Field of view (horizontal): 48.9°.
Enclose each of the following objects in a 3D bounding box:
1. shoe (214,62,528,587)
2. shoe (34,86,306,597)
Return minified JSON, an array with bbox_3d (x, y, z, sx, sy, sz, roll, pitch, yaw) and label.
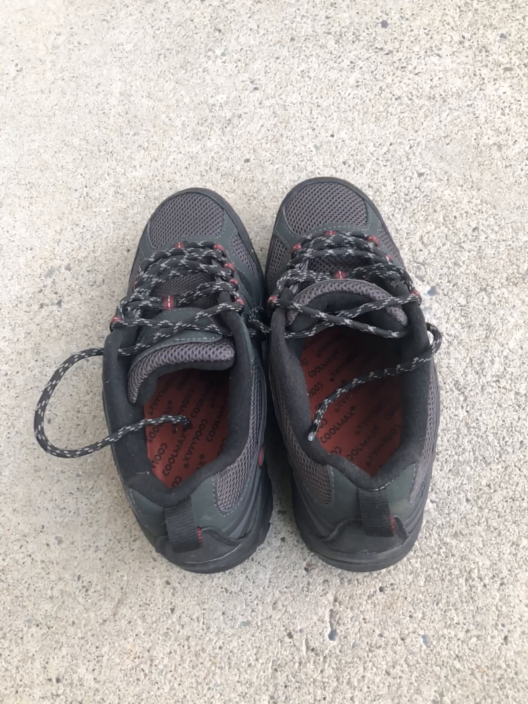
[{"bbox_3d":[0.049,-0.025,0.366,0.120,0.110,0.301,-9,63,3],"label":"shoe"},{"bbox_3d":[-0.057,-0.014,0.379,0.120,0.110,0.303,-9,63,3],"label":"shoe"}]
